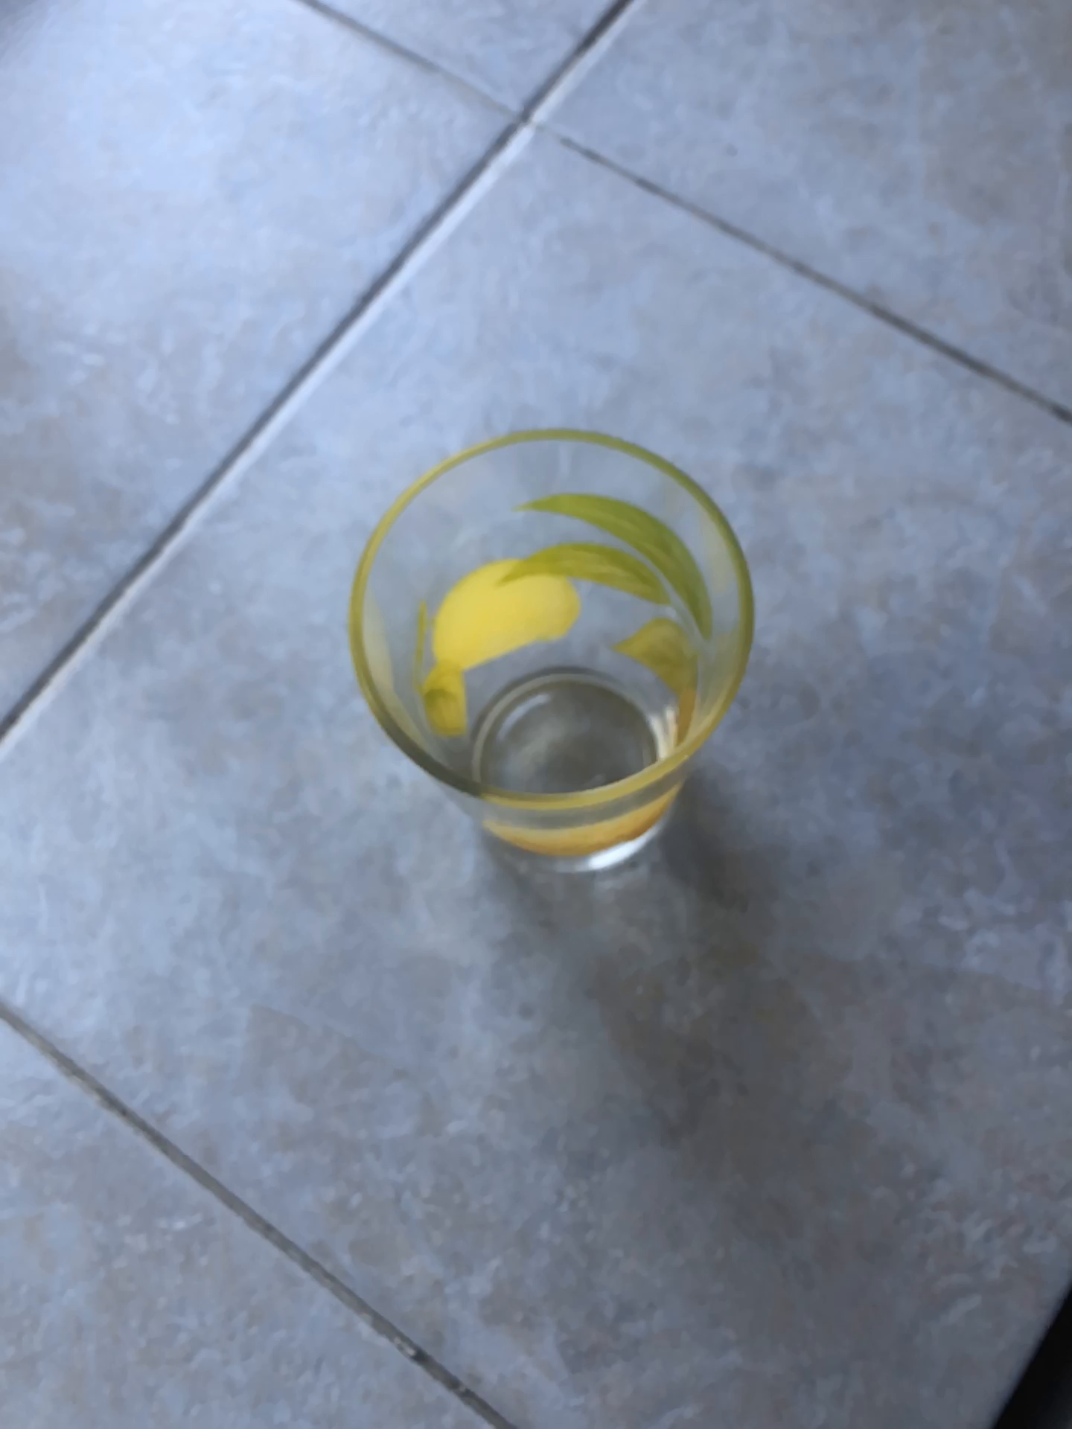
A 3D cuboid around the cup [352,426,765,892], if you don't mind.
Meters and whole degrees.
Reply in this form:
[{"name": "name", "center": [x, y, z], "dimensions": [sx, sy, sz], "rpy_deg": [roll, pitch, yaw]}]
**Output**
[{"name": "cup", "center": [0.004, -0.003, 0.266], "dimensions": [0.069, 0.113, 0.070], "rpy_deg": [0, 74, 1]}]
